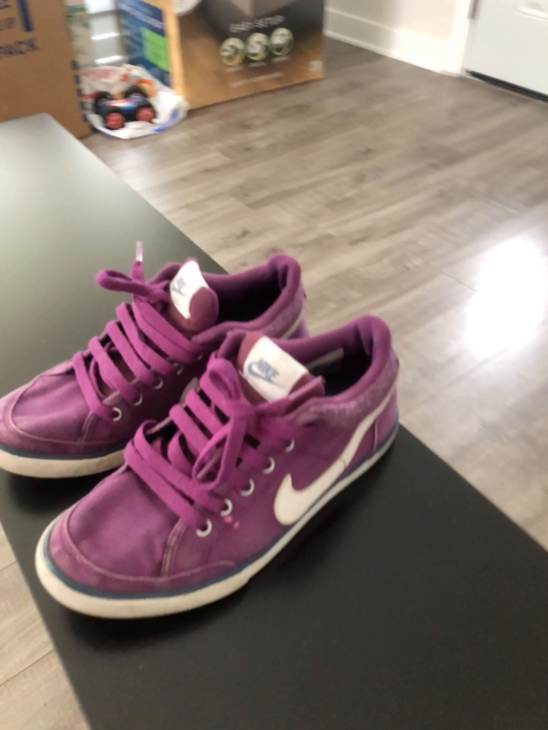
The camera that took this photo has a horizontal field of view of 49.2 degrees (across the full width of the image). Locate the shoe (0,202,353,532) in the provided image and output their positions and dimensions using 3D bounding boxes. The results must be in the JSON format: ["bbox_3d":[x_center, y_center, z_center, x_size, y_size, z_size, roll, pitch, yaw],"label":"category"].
[{"bbox_3d":[-0.077,-0.011,0.401,0.240,0.100,0.100,-24,48,-24],"label":"shoe"}]

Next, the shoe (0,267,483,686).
[{"bbox_3d":[-0.016,0.048,0.345,0.250,0.100,0.100,-24,48,-24],"label":"shoe"}]
